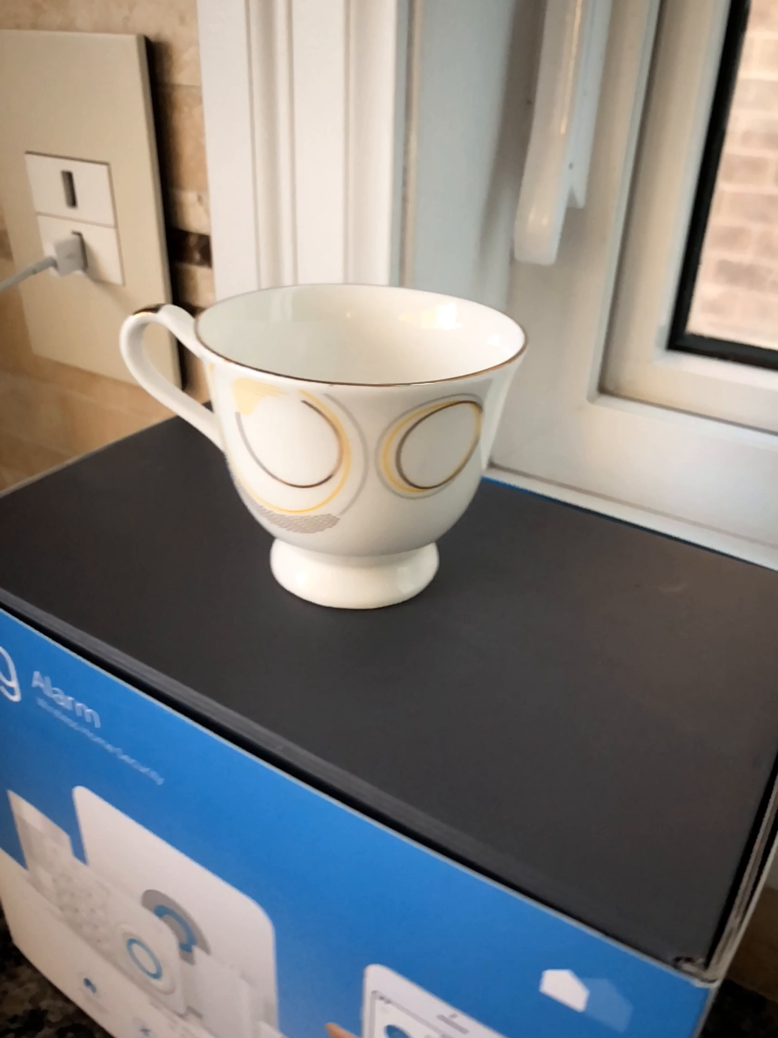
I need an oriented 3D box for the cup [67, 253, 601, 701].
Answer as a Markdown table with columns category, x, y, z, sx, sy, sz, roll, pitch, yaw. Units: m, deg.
| category | x | y | z | sx | sy | sz | roll | pitch | yaw |
| --- | --- | --- | --- | --- | --- | --- | --- | --- | --- |
| cup | -0.011 | -0.019 | 0.223 | 0.100 | 0.066 | 0.077 | 17 | 34 | 25 |
